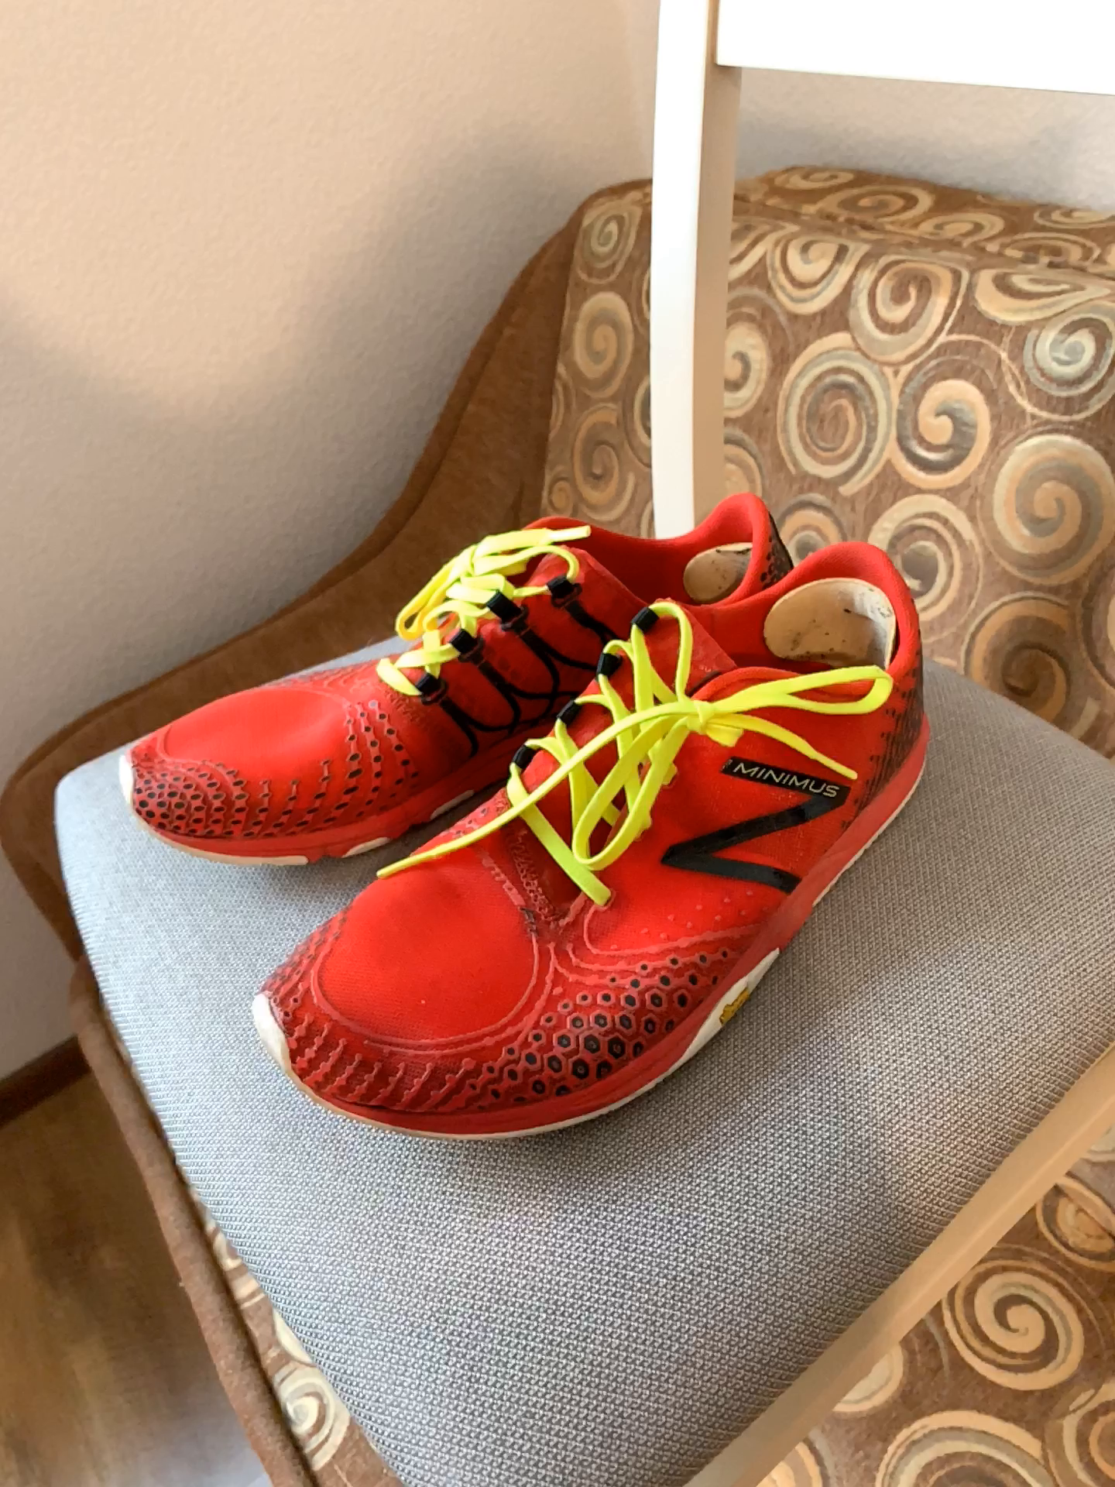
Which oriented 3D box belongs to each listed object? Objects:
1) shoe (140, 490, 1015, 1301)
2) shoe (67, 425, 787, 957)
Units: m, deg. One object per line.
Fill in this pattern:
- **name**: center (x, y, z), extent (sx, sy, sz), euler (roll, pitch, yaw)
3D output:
- **shoe**: center (0.020, 0.029, 0.376), extent (0.260, 0.090, 0.111), euler (-35, 44, -23)
- **shoe**: center (-0.052, -0.029, 0.472), extent (0.260, 0.090, 0.111), euler (-21, 40, -8)
